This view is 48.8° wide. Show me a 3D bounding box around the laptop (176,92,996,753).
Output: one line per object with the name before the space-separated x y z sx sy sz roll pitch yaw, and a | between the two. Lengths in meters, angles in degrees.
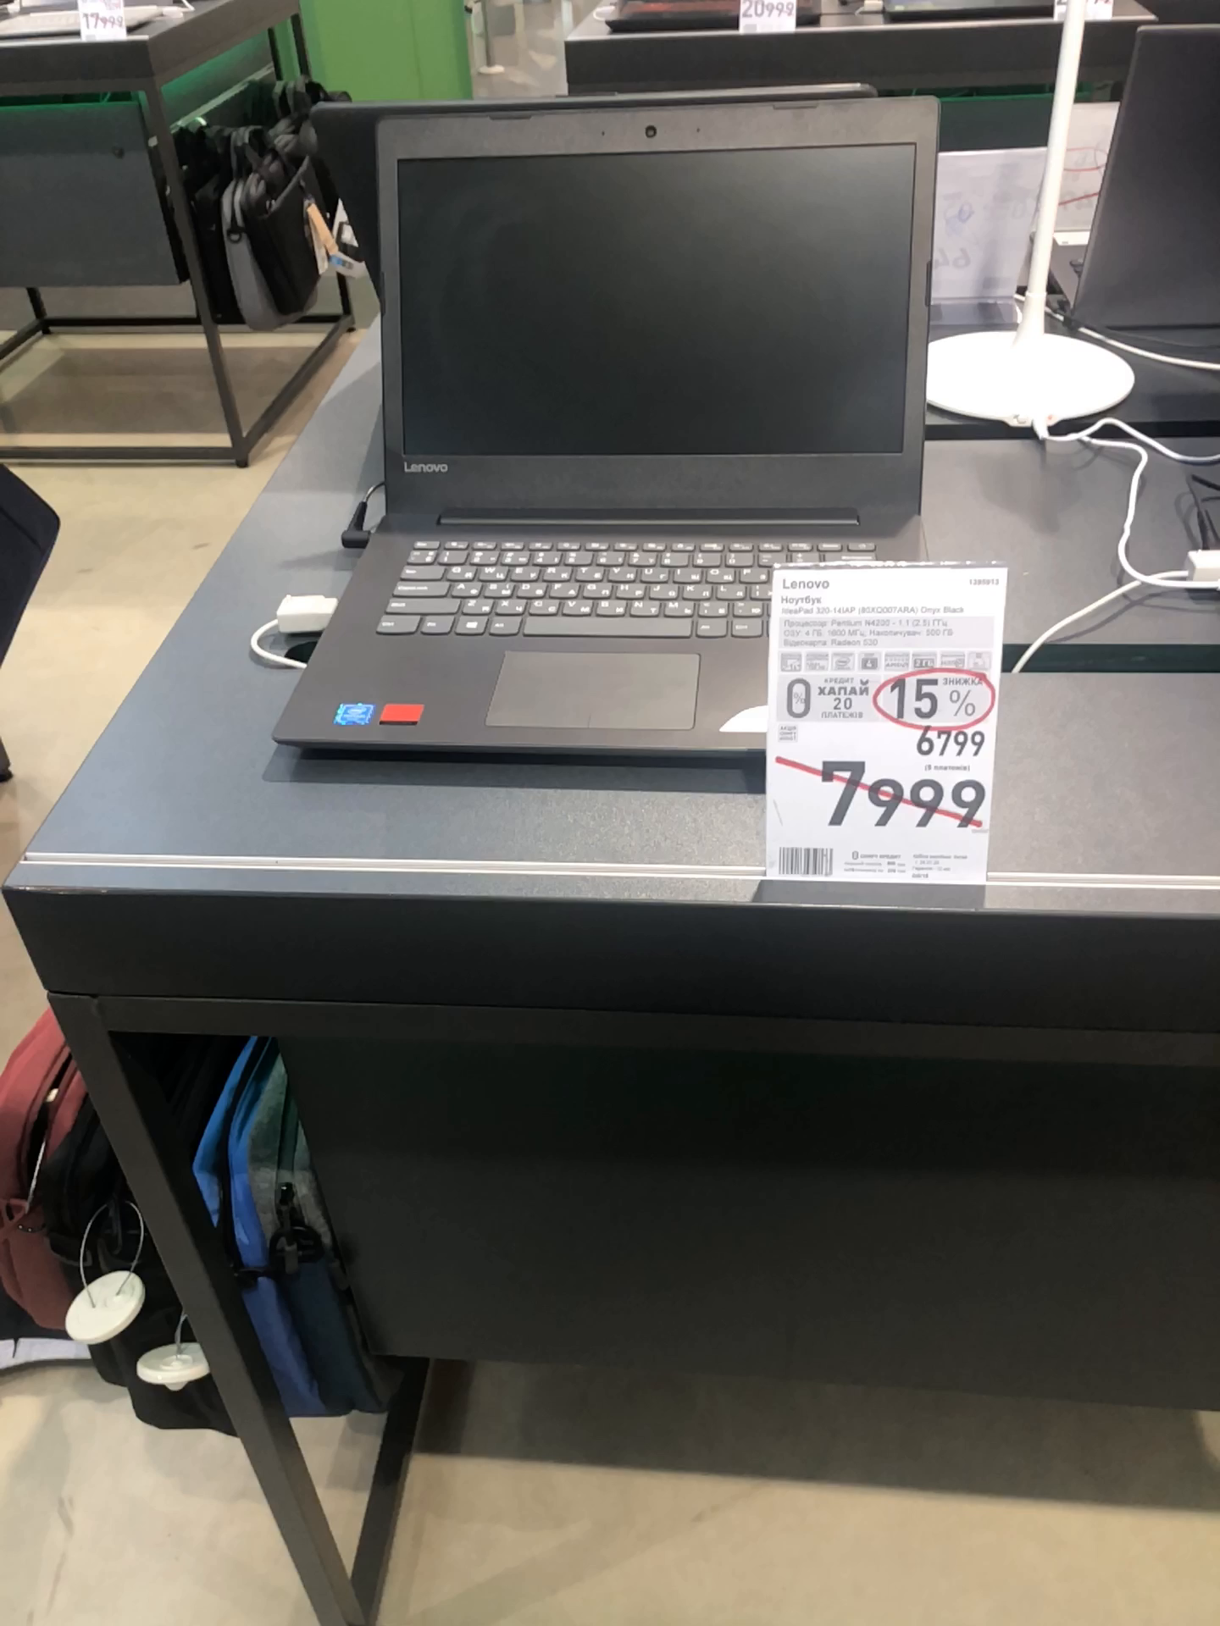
laptop | 0.007 -0.231 0.736 0.330 0.205 0.363 1 40 6
